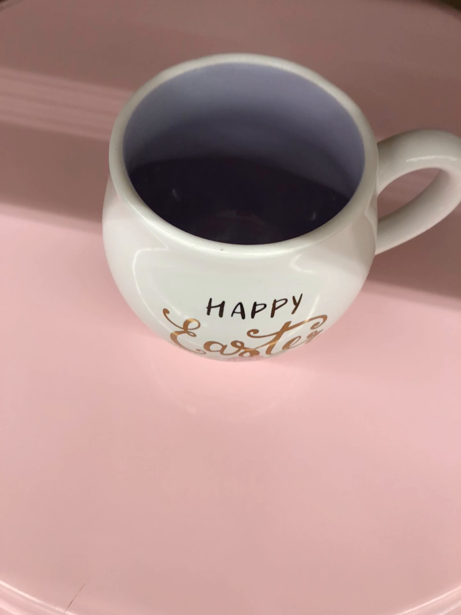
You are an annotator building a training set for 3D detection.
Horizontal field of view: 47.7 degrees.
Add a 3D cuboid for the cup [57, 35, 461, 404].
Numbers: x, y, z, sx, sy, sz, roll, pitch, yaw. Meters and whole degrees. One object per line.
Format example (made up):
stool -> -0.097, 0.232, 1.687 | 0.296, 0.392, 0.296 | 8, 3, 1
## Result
cup -> 0.015, -0.028, 0.188 | 0.130, 0.080, 0.090 | -6, 63, -5
